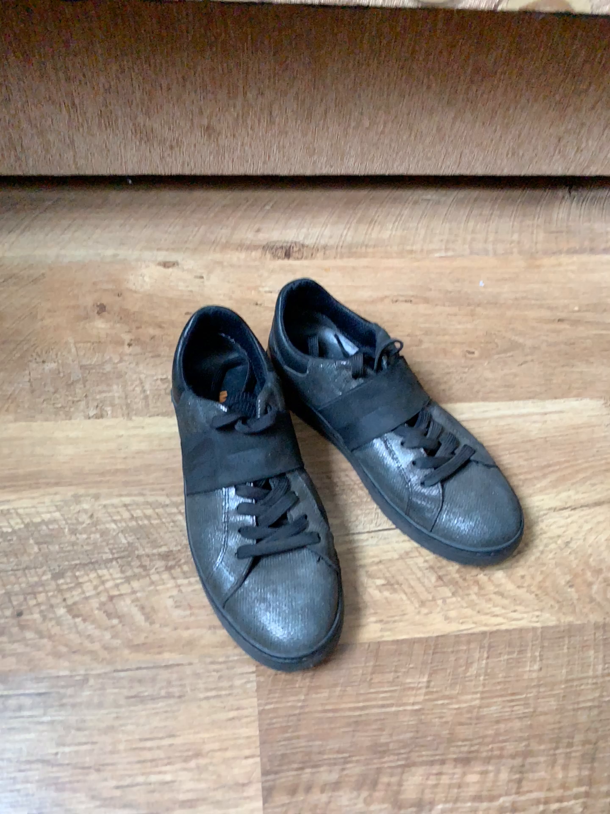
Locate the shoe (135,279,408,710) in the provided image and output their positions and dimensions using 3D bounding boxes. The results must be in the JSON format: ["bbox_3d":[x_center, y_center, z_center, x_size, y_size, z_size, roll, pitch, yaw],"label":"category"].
[{"bbox_3d":[-0.037,0.042,0.419,0.100,0.090,0.261,-12,55,-13],"label":"shoe"}]

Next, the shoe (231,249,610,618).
[{"bbox_3d":[0.066,0.007,0.458,0.100,0.090,0.261,-33,61,-26],"label":"shoe"}]
